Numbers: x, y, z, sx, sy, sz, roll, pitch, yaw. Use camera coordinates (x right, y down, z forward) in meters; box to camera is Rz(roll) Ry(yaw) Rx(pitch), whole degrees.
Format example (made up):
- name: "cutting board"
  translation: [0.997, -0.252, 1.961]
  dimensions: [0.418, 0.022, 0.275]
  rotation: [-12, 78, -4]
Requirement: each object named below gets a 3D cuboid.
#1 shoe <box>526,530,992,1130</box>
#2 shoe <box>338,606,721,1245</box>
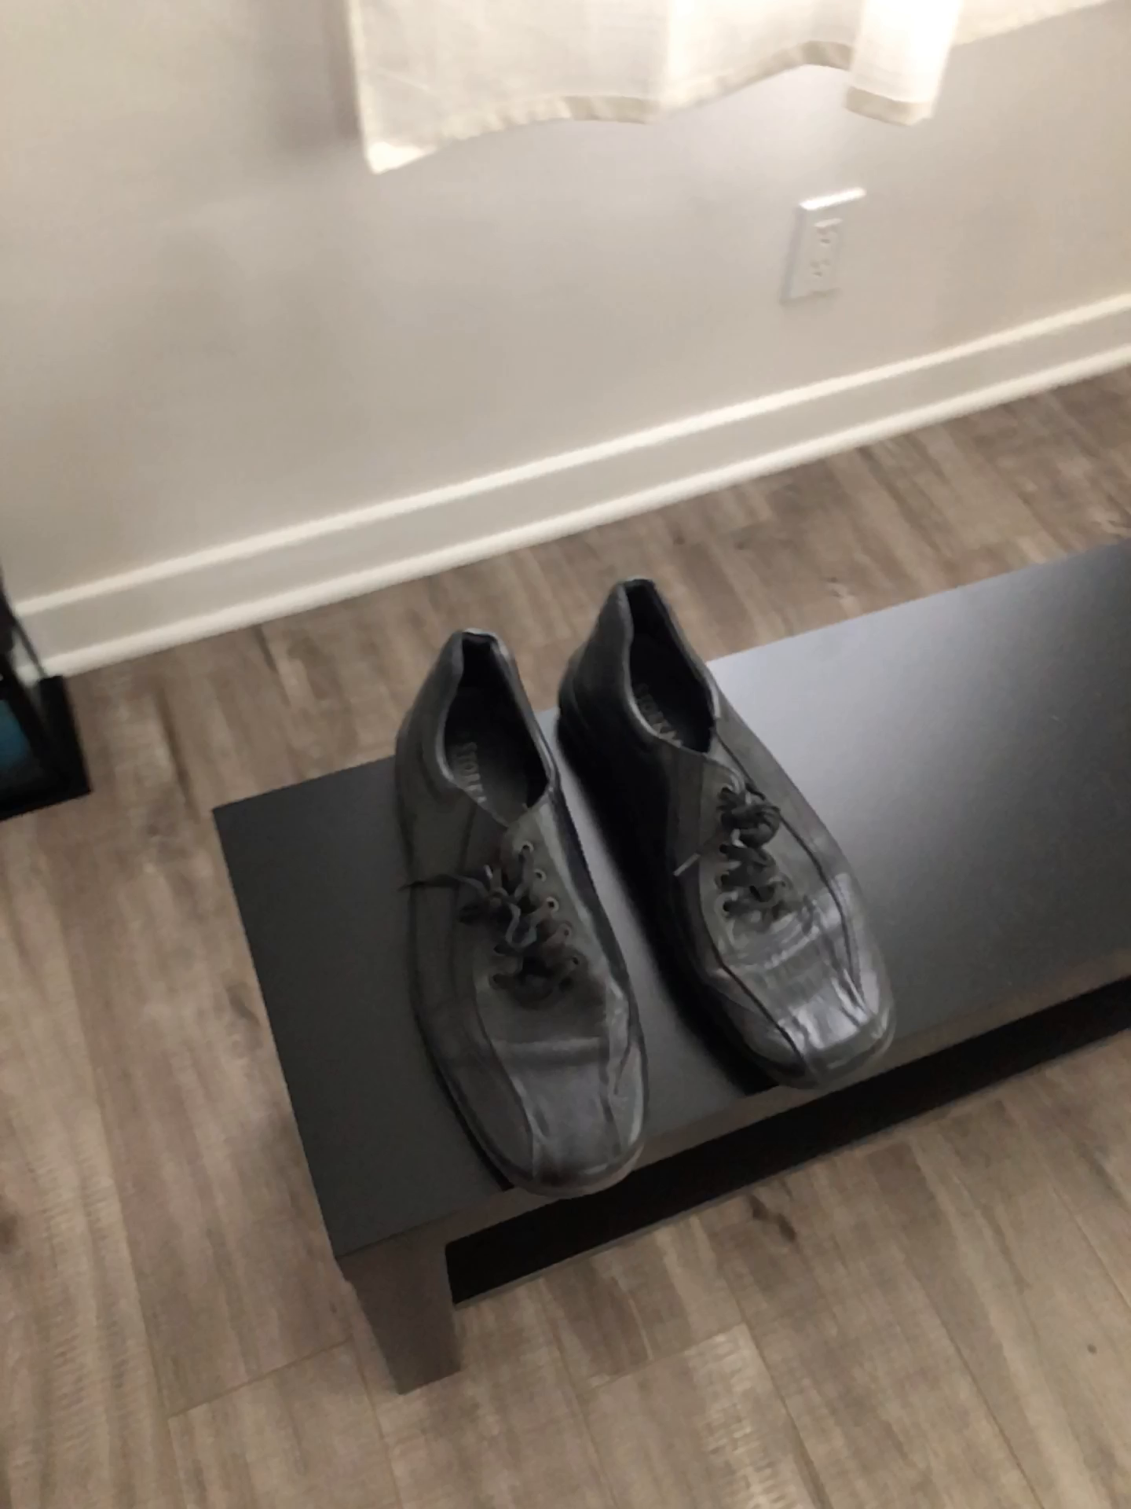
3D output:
- name: "shoe"
  translation: [0.084, 0.031, 0.662]
  dimensions: [0.110, 0.110, 0.283]
  rotation: [-19, 59, -14]
- name: "shoe"
  translation: [-0.029, 0.077, 0.635]
  dimensions: [0.110, 0.110, 0.286]
  rotation: [-13, 58, -10]
